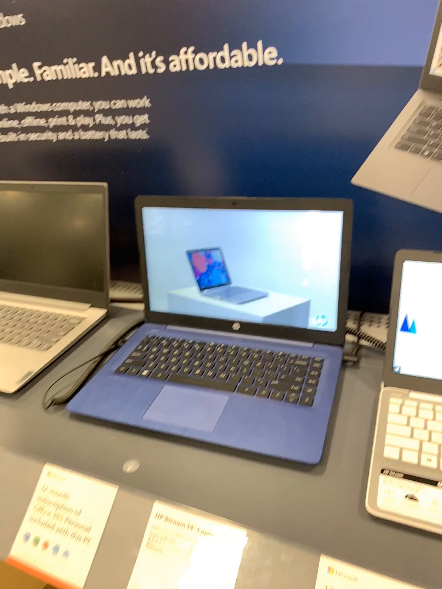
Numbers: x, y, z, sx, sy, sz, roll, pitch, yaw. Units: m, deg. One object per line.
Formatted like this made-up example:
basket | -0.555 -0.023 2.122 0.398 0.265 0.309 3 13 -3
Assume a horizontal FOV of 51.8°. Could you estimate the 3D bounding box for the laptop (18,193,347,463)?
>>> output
laptop | -0.018 0.012 0.594 0.322 0.208 0.253 6 30 19
